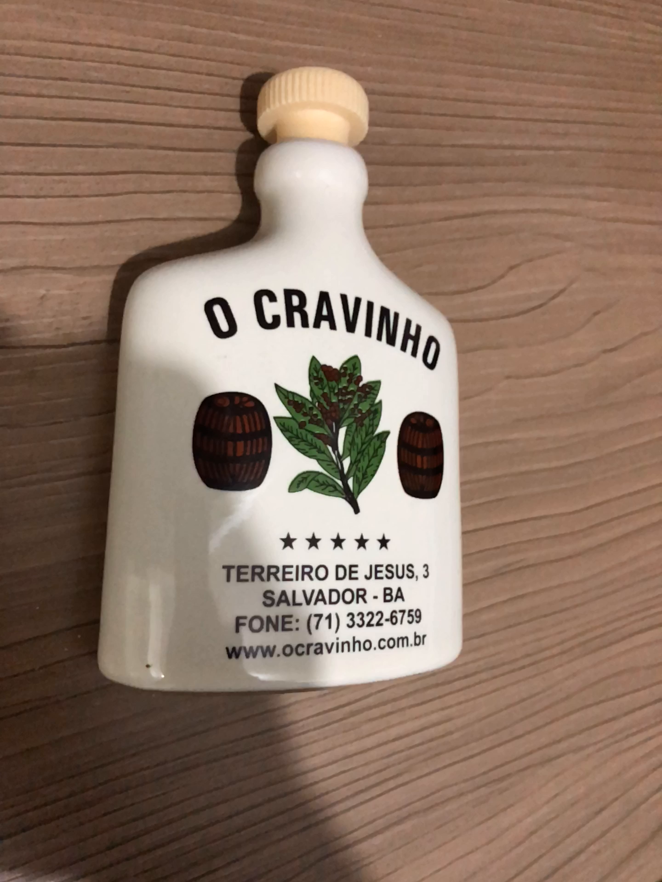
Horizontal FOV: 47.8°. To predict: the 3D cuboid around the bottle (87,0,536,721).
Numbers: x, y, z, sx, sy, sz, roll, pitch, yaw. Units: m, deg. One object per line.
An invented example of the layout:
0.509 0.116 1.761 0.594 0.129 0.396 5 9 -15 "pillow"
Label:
-0.002 -0.022 0.189 0.100 0.040 0.160 4 86 -28 "bottle"
